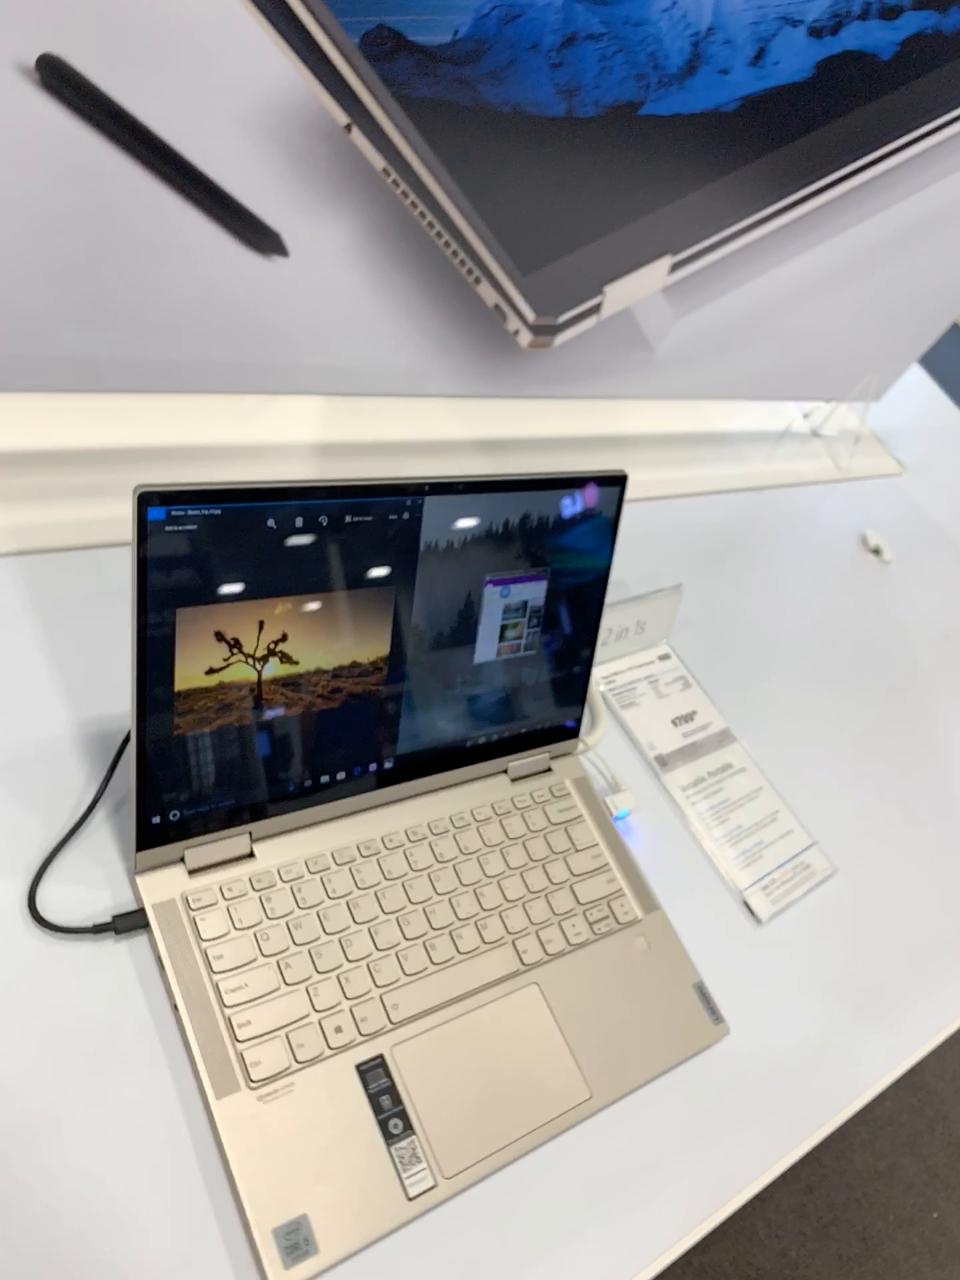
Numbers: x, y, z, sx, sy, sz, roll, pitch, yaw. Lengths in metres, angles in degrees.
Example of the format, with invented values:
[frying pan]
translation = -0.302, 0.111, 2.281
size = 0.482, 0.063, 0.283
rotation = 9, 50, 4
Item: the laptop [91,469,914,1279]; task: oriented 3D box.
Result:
[laptop]
translation = 0.000, 0.094, 0.549
size = 0.310, 0.170, 0.329
rotation = -9, 60, -37
